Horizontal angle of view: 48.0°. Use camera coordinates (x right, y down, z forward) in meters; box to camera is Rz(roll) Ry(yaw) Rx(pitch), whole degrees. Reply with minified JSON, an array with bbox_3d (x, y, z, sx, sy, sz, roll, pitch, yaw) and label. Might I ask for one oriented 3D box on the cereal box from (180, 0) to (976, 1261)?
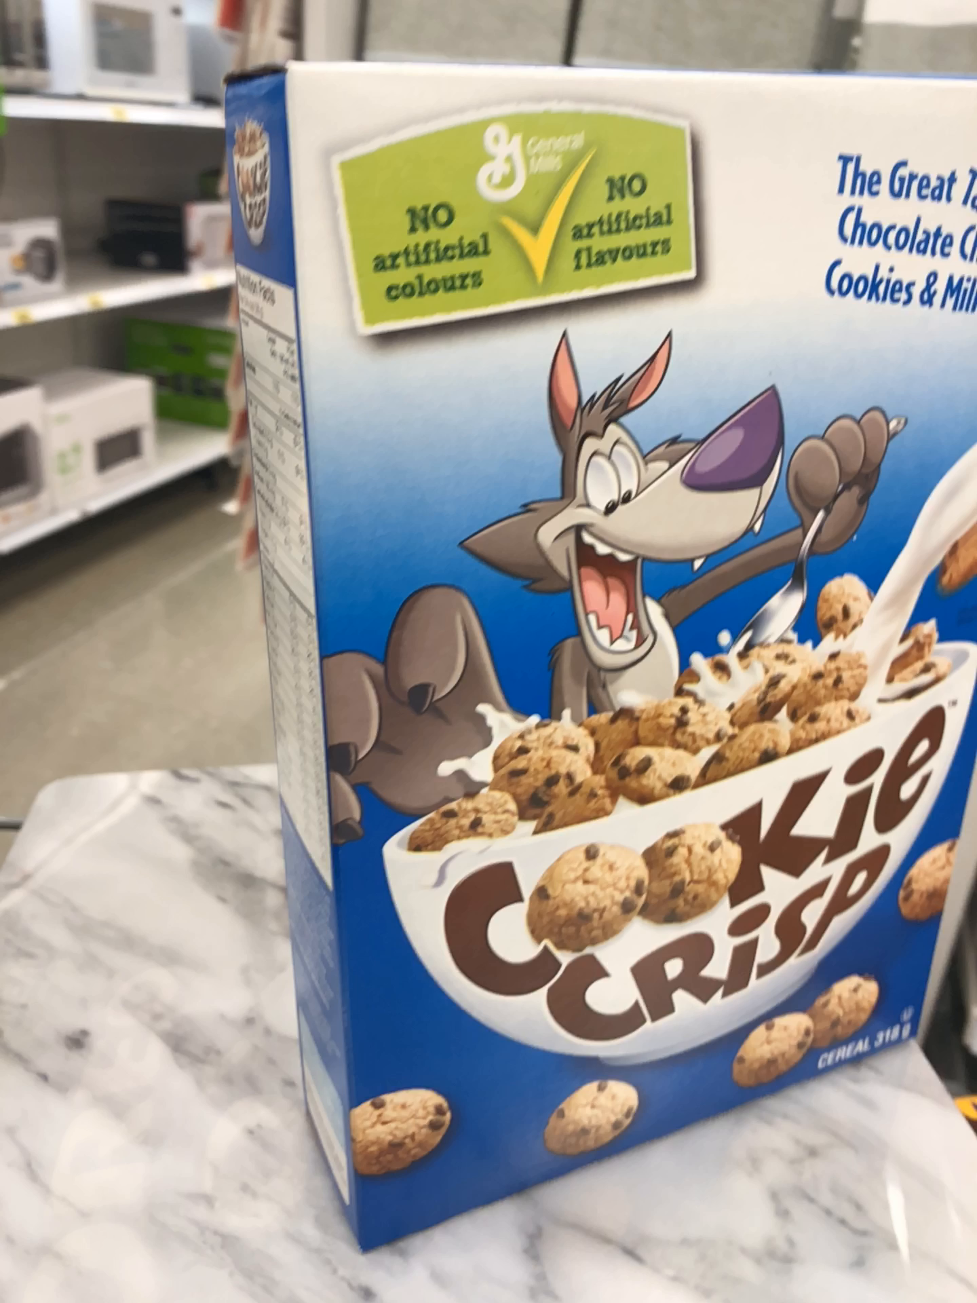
[{"bbox_3d":[0.050,-0.005,0.271,0.210,0.269,0.050,-11,26,-23],"label":"cereal box"}]
